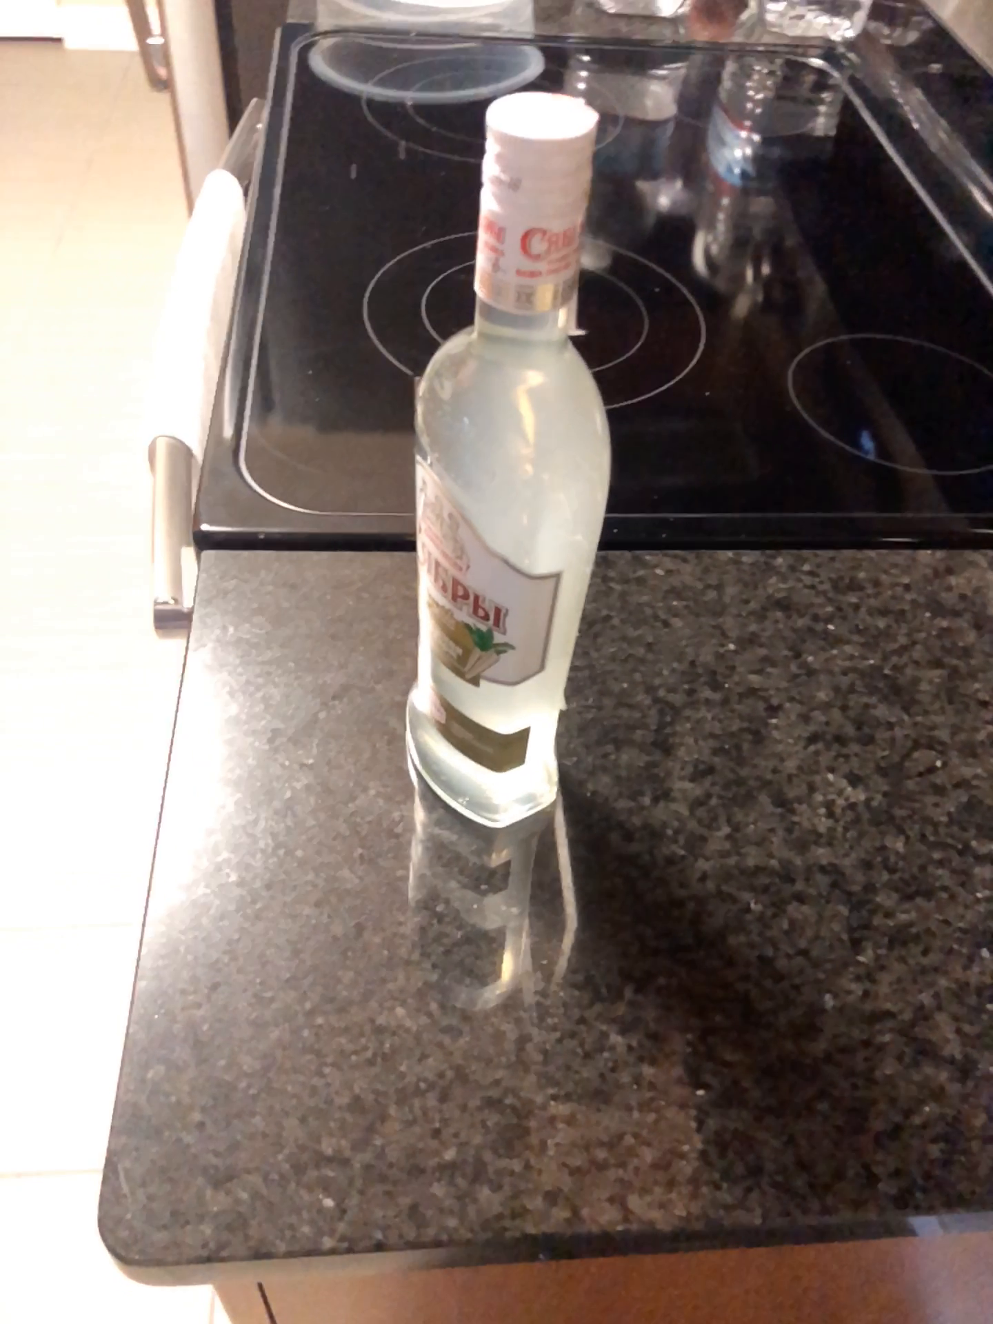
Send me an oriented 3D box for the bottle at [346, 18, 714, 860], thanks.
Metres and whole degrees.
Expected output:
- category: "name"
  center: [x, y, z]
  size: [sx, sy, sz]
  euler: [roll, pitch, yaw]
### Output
- category: "bottle"
  center: [-0.004, -0.052, 0.371]
  size: [0.060, 0.269, 0.090]
  euler: [-15, 50, -18]
